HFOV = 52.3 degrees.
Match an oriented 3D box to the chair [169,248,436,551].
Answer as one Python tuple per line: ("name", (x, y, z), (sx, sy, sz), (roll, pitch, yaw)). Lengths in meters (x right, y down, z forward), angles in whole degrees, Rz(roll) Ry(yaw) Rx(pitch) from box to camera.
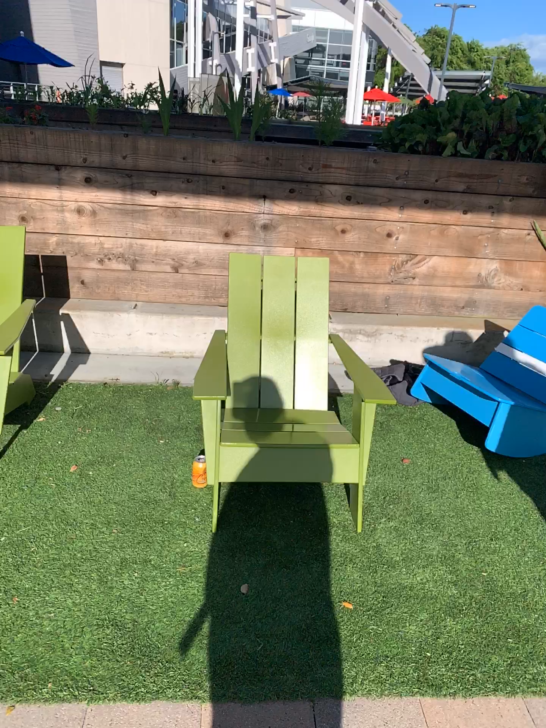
("chair", (0.043, 0.091, 2.399), (0.850, 0.895, 1.006), (2, 25, -4))
